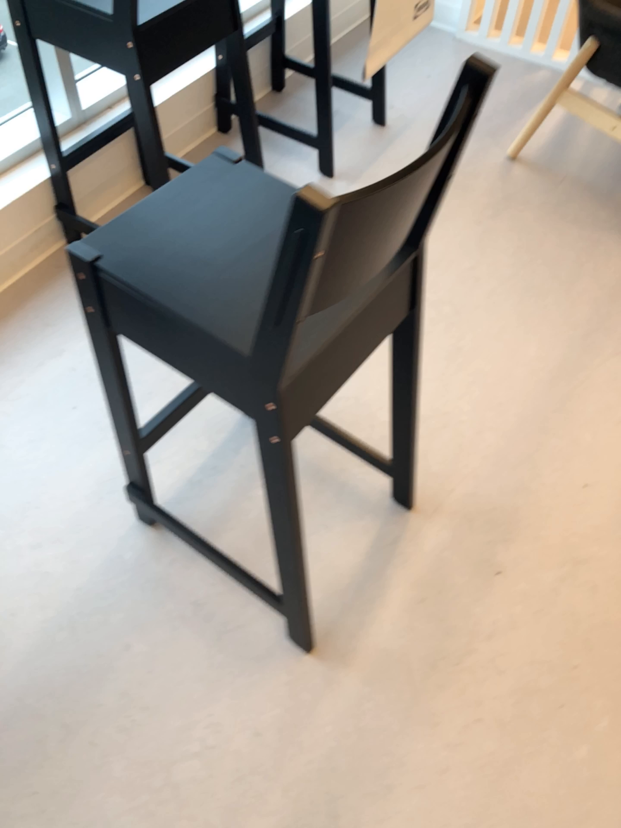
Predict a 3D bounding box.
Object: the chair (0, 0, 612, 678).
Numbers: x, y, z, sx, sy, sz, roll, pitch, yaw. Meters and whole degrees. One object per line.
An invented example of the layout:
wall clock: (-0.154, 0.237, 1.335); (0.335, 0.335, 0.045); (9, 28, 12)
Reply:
chair: (-0.076, -0.123, 1.118); (0.581, 0.994, 0.552); (30, 57, 19)
